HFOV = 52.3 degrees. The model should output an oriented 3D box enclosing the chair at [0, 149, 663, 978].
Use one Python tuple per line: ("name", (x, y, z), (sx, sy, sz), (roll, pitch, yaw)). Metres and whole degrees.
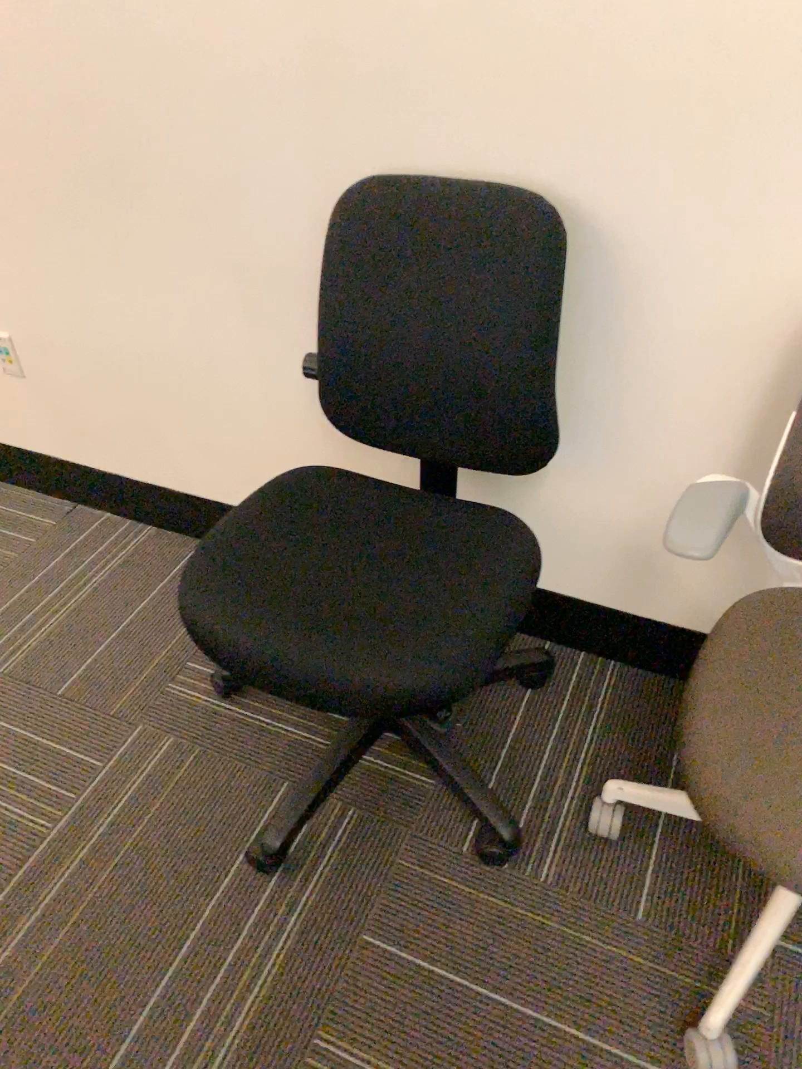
("chair", (-0.059, 0.023, 1.347), (0.681, 0.994, 0.743), (14, 43, 19))
